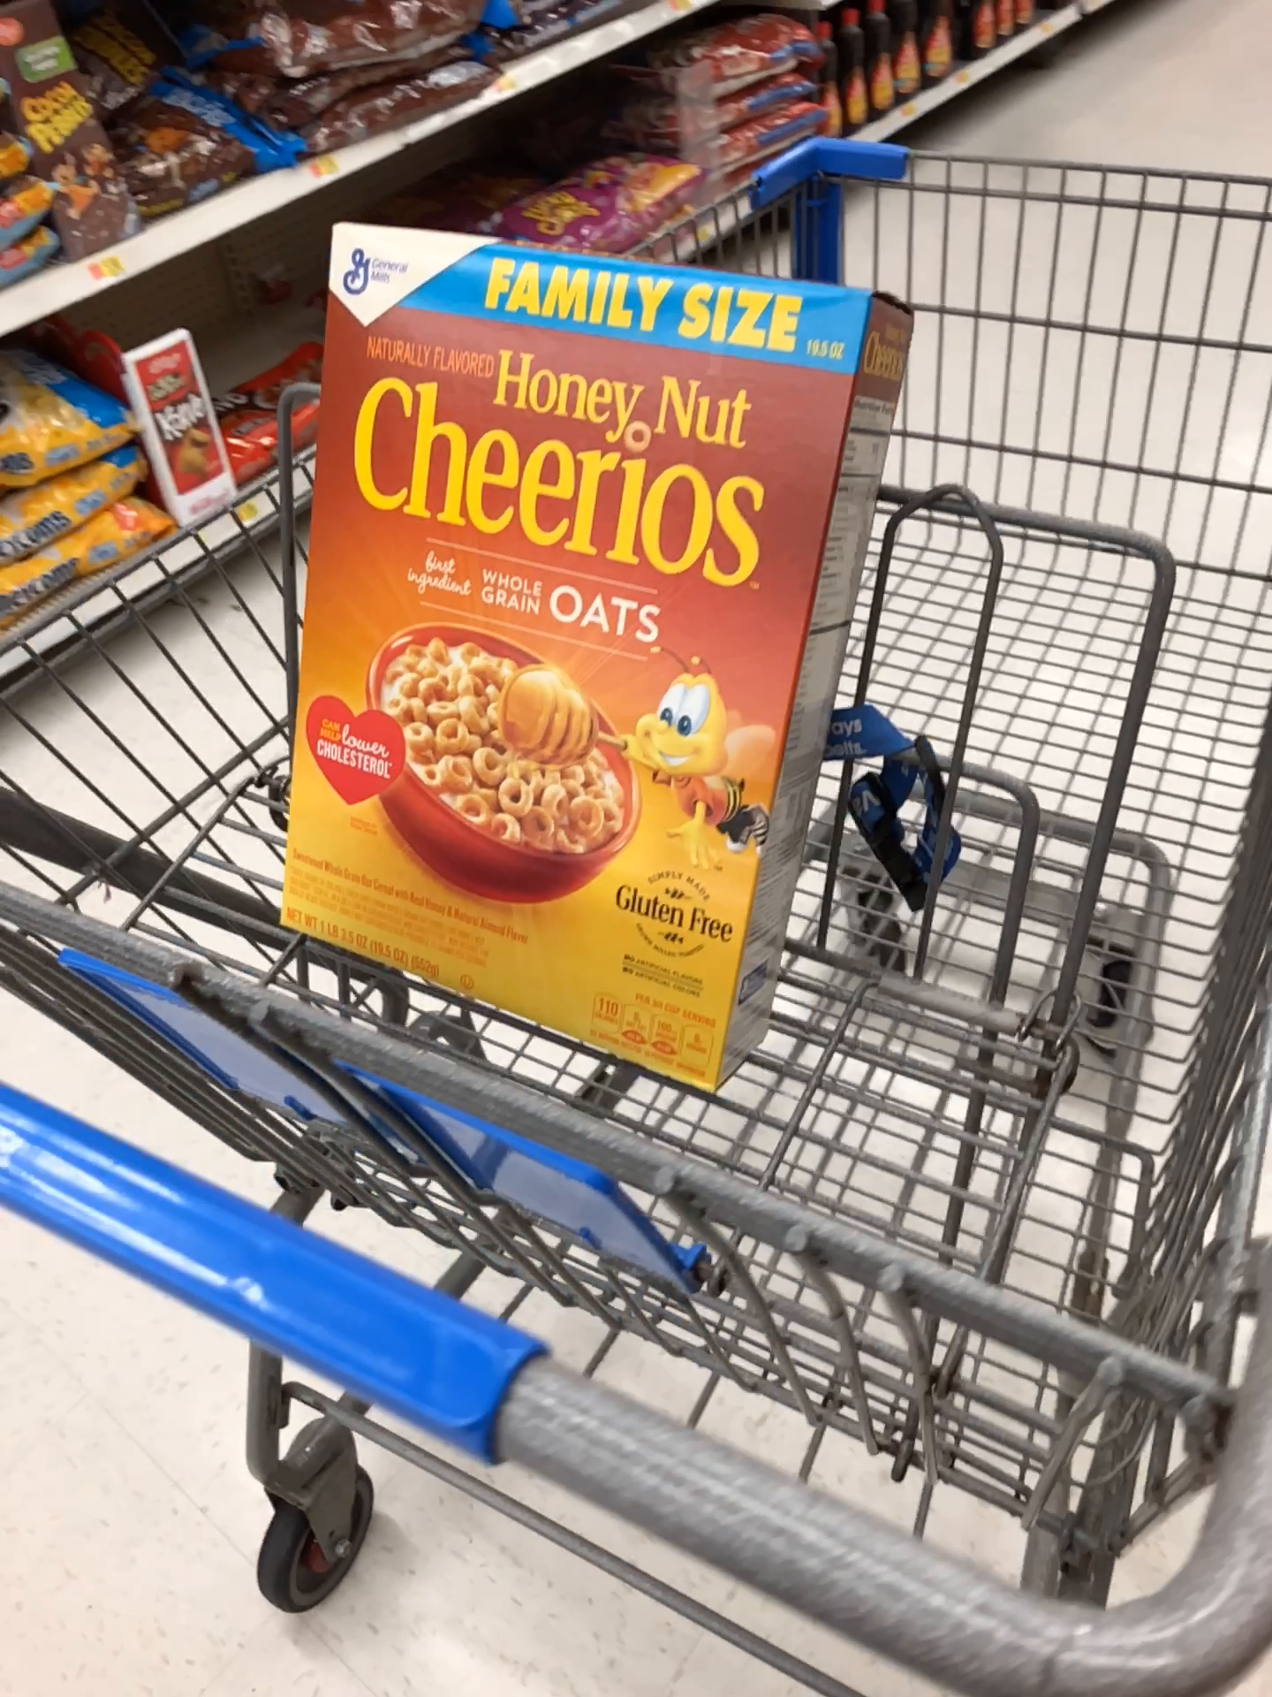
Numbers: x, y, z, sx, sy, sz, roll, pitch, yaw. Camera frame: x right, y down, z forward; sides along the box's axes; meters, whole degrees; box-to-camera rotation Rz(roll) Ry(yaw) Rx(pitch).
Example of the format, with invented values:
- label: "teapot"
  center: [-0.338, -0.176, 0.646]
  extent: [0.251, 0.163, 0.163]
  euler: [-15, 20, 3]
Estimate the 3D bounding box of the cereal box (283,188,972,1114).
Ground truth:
- label: "cereal box"
  center: [-0.022, -0.088, 0.600]
  extent: [0.250, 0.330, 0.070]
  euler: [17, 21, 25]
